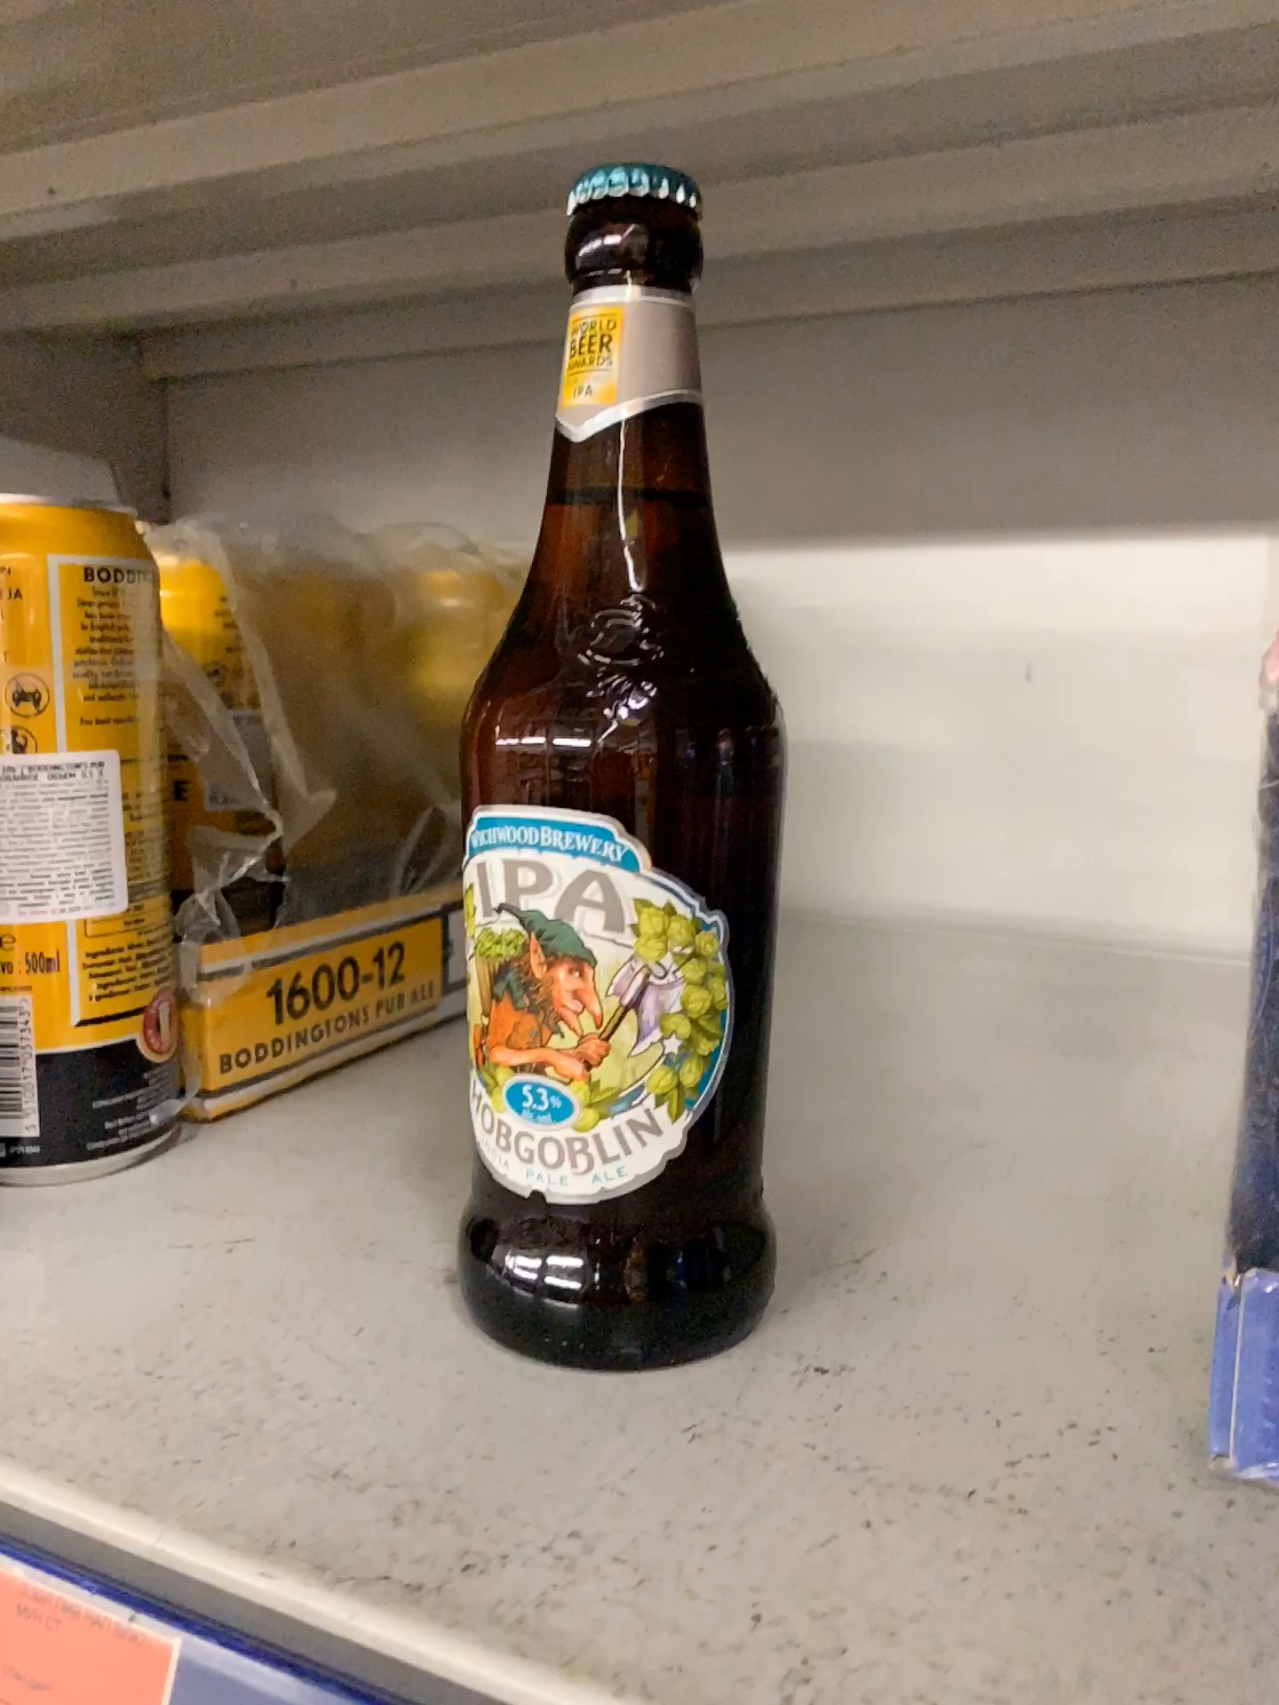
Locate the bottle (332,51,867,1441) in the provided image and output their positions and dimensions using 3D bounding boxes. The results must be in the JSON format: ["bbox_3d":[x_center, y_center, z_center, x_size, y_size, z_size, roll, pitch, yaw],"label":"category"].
[{"bbox_3d":[-0.007,-0.019,0.294,0.080,0.249,0.080,1,8,0],"label":"bottle"}]
